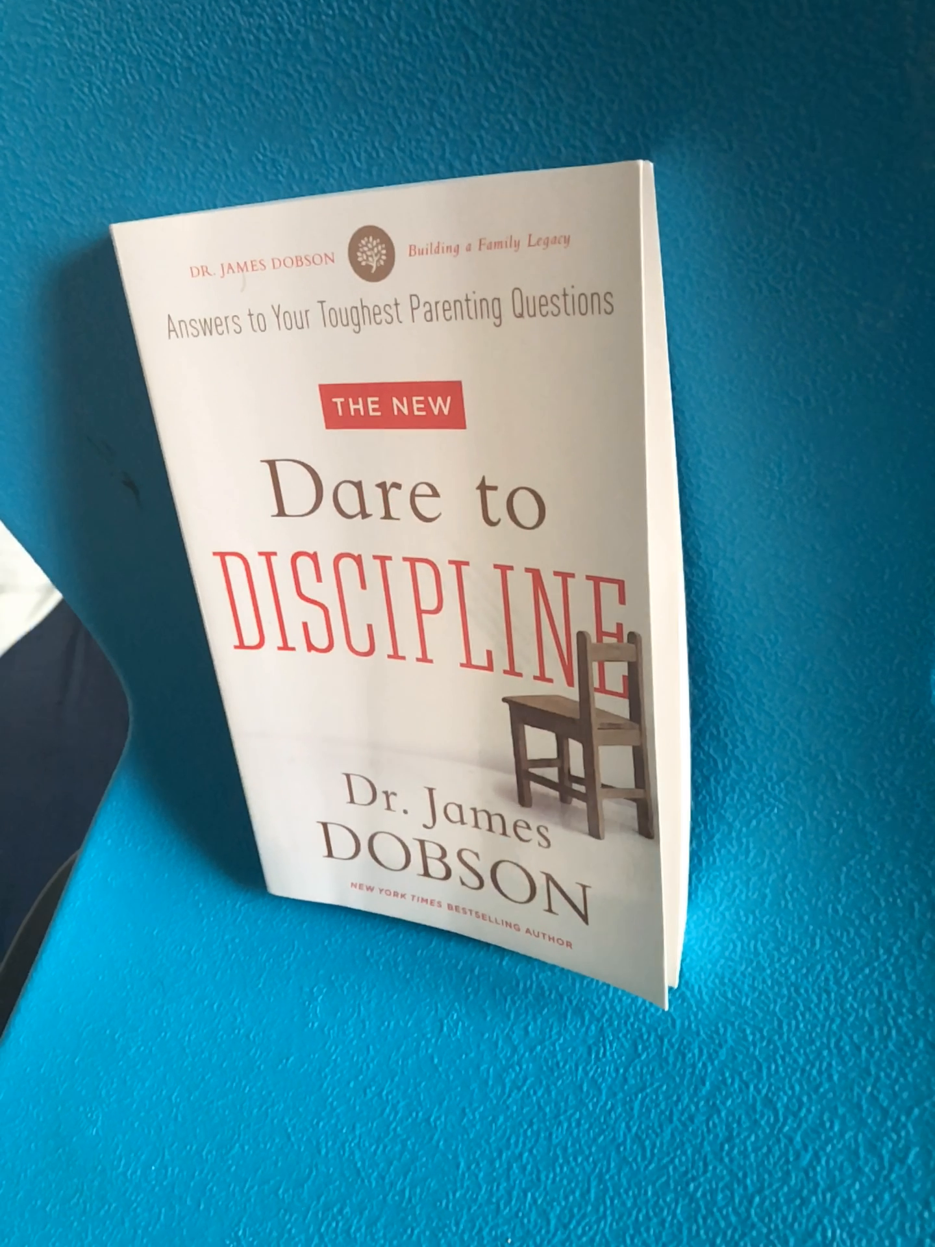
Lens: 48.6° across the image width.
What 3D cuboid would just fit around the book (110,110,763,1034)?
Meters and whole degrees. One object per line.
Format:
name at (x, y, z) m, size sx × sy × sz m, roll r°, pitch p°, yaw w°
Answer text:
book at (-0.006, -0.010, 0.268) m, size 0.150 × 0.199 × 0.040 m, roll 6°, pitch 21°, yaw 29°
